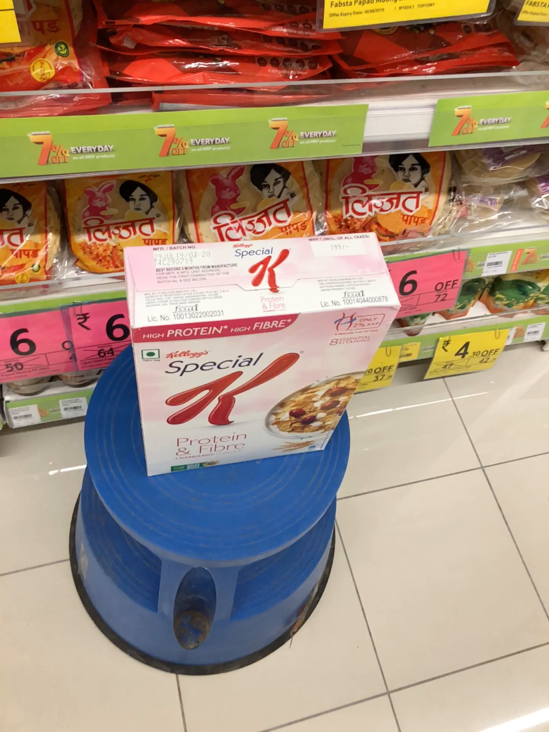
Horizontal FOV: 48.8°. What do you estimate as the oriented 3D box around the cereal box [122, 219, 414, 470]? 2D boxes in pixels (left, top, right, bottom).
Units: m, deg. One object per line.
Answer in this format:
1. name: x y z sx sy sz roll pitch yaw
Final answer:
1. cereal box: -0.020 -0.003 0.497 0.180 0.249 0.070 -6 61 -12
